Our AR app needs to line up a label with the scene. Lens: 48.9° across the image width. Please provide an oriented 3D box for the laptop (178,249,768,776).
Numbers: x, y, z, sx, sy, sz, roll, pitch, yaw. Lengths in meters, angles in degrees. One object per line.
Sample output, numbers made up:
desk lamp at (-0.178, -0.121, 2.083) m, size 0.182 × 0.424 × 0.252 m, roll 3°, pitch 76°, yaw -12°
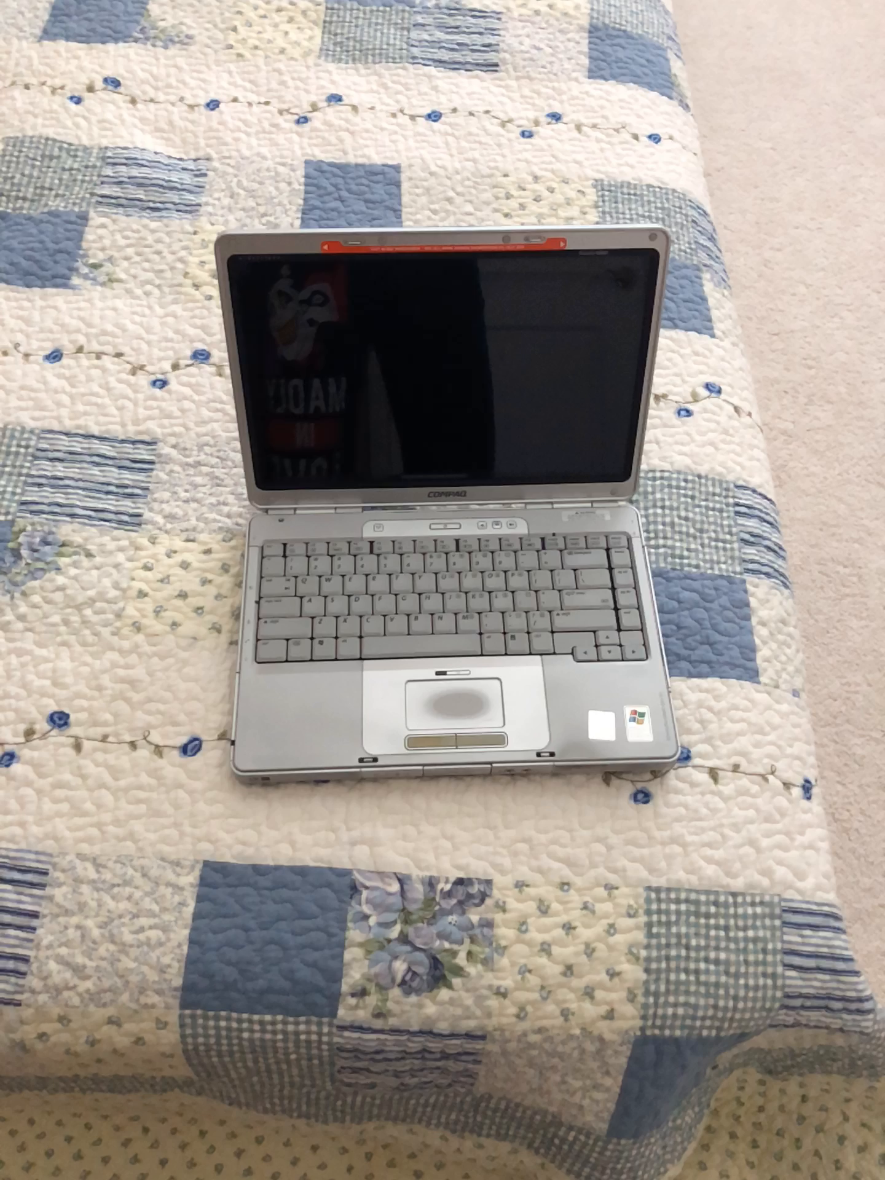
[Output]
laptop at (0.008, -0.057, 0.700) m, size 0.322 × 0.193 × 0.327 m, roll -2°, pitch 60°, yaw -2°
